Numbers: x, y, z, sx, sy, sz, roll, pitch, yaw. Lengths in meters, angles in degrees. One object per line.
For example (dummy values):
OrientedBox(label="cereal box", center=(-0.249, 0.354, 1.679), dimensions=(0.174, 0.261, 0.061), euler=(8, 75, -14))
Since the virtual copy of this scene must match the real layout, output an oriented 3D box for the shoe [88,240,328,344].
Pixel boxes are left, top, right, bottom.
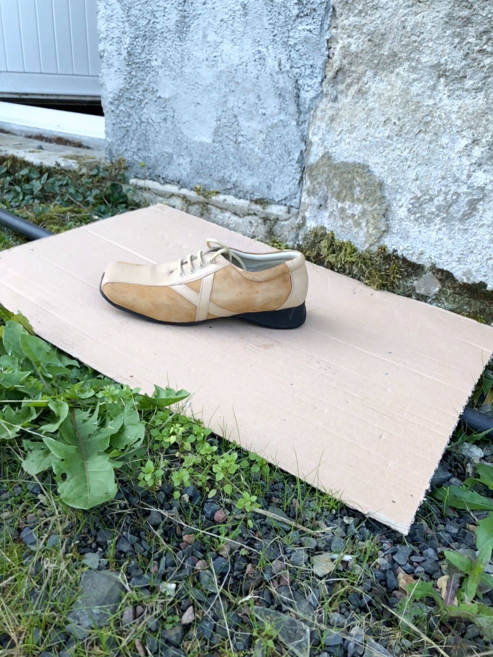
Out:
OrientedBox(label="shoe", center=(-0.044, -0.048, 0.672), dimensions=(0.270, 0.080, 0.101), euler=(3, 26, 0))
